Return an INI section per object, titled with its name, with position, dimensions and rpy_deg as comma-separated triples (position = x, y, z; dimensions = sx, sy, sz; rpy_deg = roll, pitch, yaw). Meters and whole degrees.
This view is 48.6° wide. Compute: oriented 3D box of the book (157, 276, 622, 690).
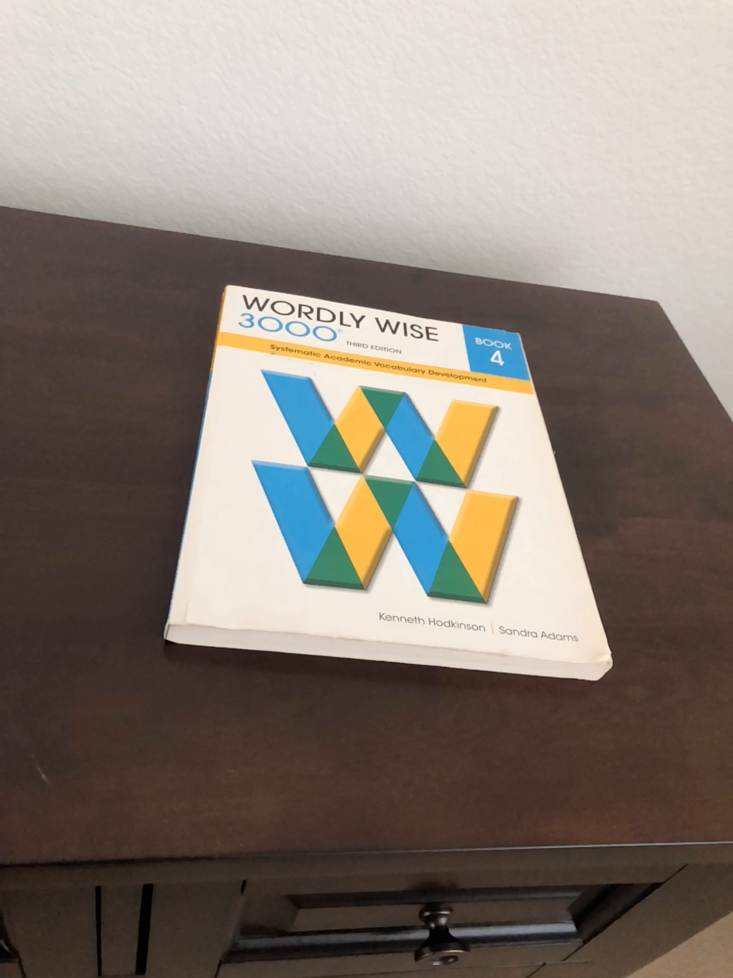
[book]
position = 0.011, -0.021, 0.470
dimensions = 0.217, 0.020, 0.275
rpy_deg = 8, 46, -10
